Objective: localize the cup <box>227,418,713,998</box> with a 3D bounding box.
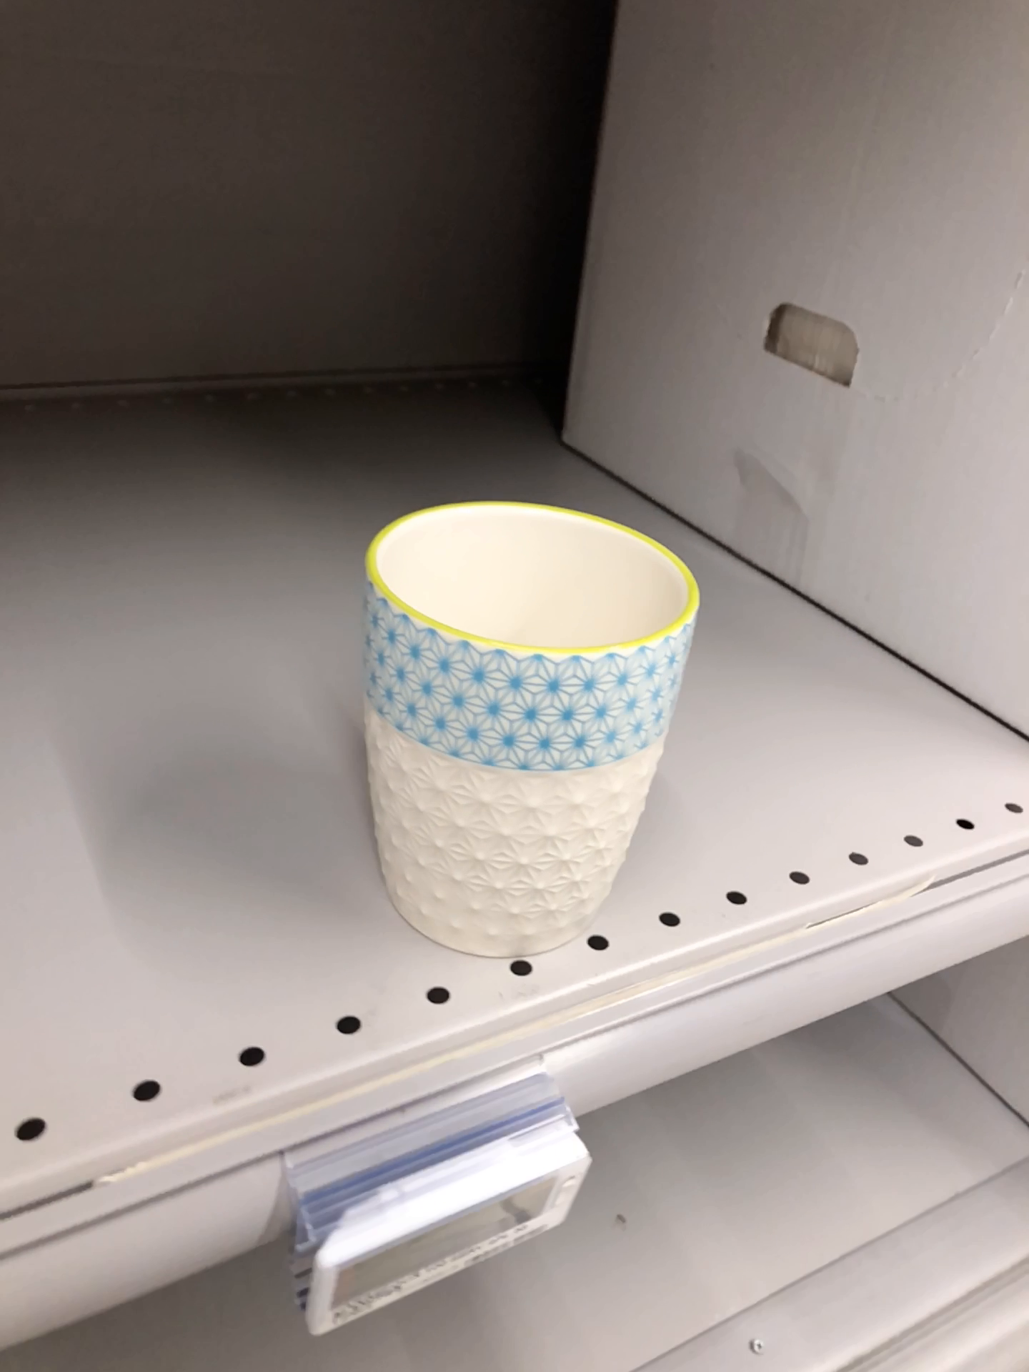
[{"bbox_3d":[-0.007,-0.002,0.309,0.098,0.091,0.119,11,32,6],"label":"cup"}]
